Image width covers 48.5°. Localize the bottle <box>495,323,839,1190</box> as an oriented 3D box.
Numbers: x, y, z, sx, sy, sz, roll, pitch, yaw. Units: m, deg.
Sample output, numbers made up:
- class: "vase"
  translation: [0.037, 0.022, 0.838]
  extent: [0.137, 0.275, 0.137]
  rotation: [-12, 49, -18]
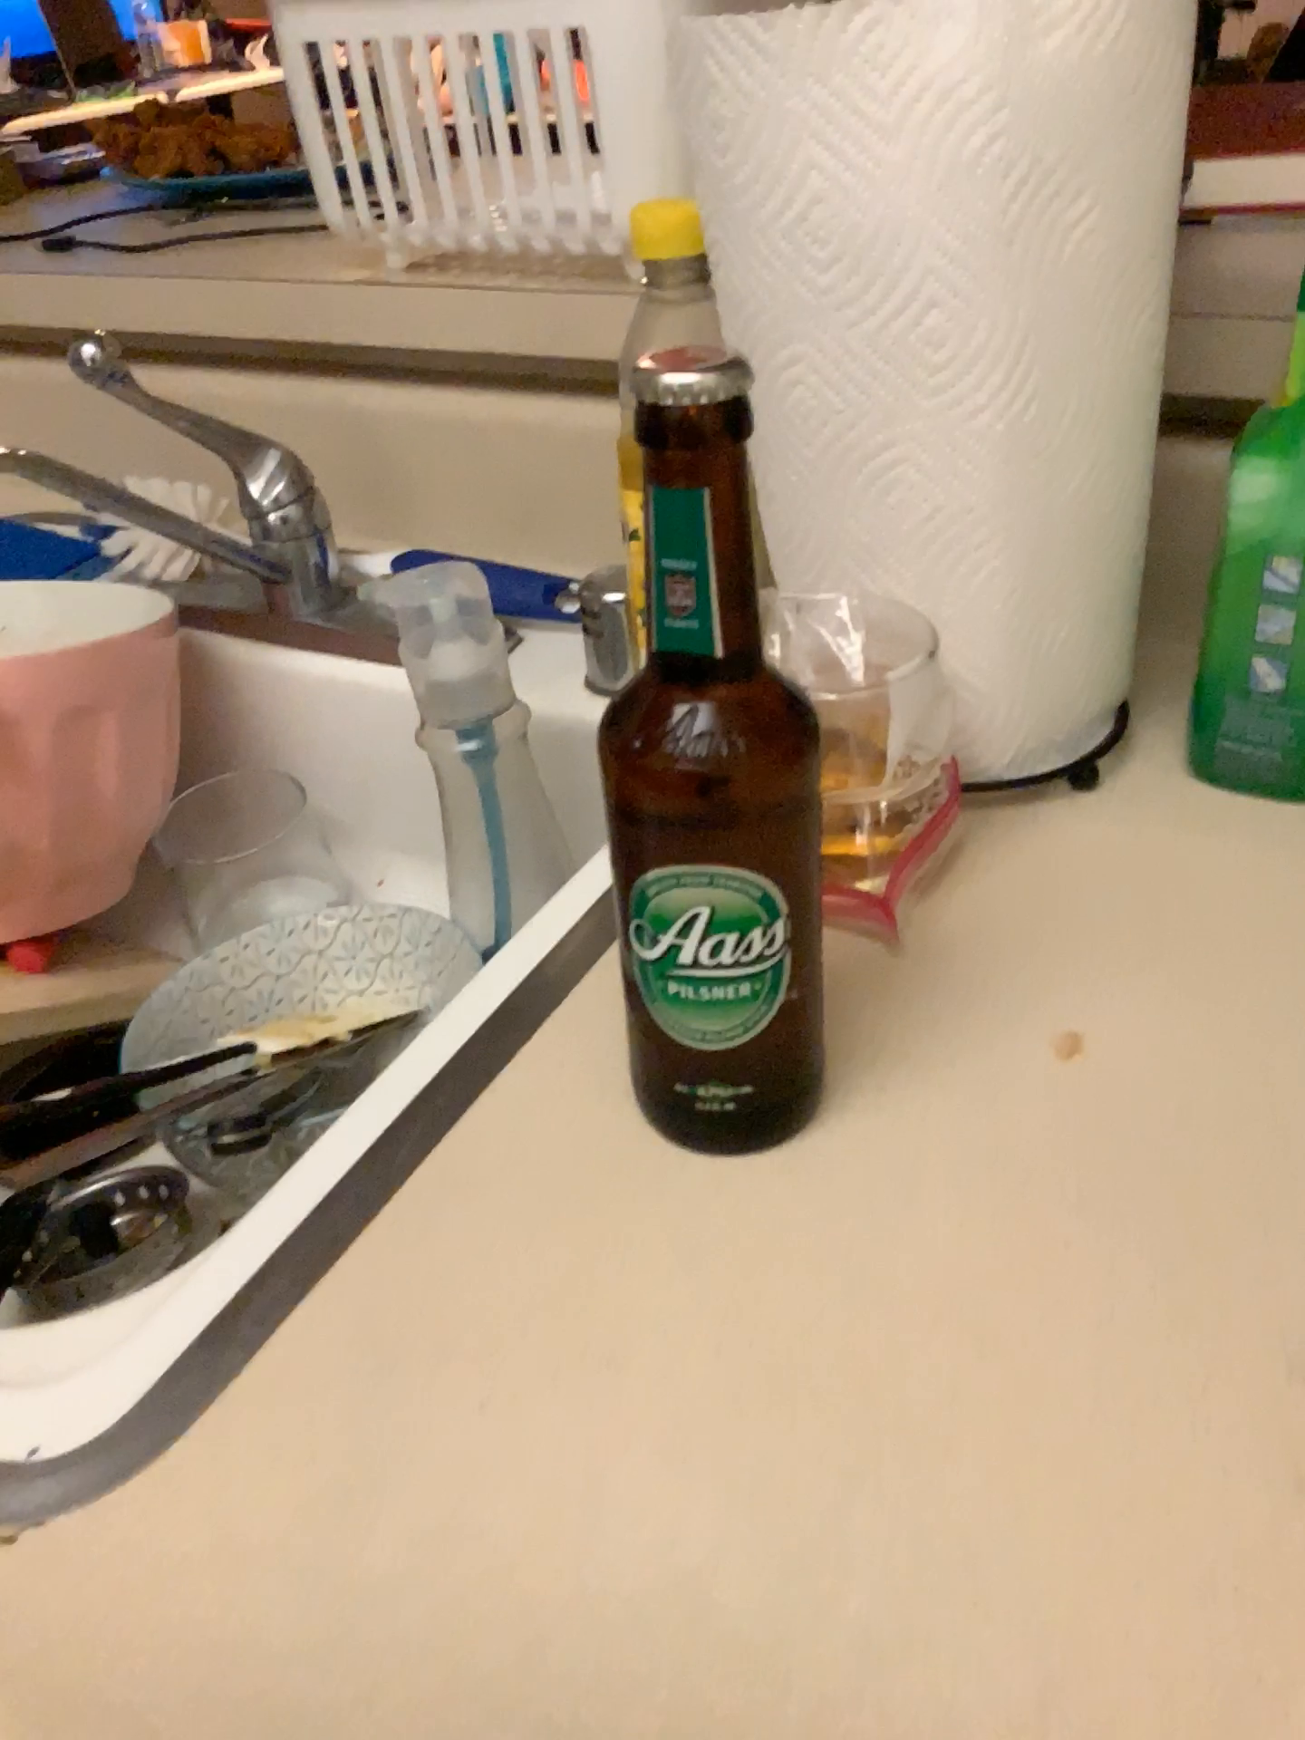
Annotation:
- class: "bottle"
  translation: [0.013, -0.020, 0.392]
  extent: [0.070, 0.230, 0.060]
  rotation: [1, 33, 9]
